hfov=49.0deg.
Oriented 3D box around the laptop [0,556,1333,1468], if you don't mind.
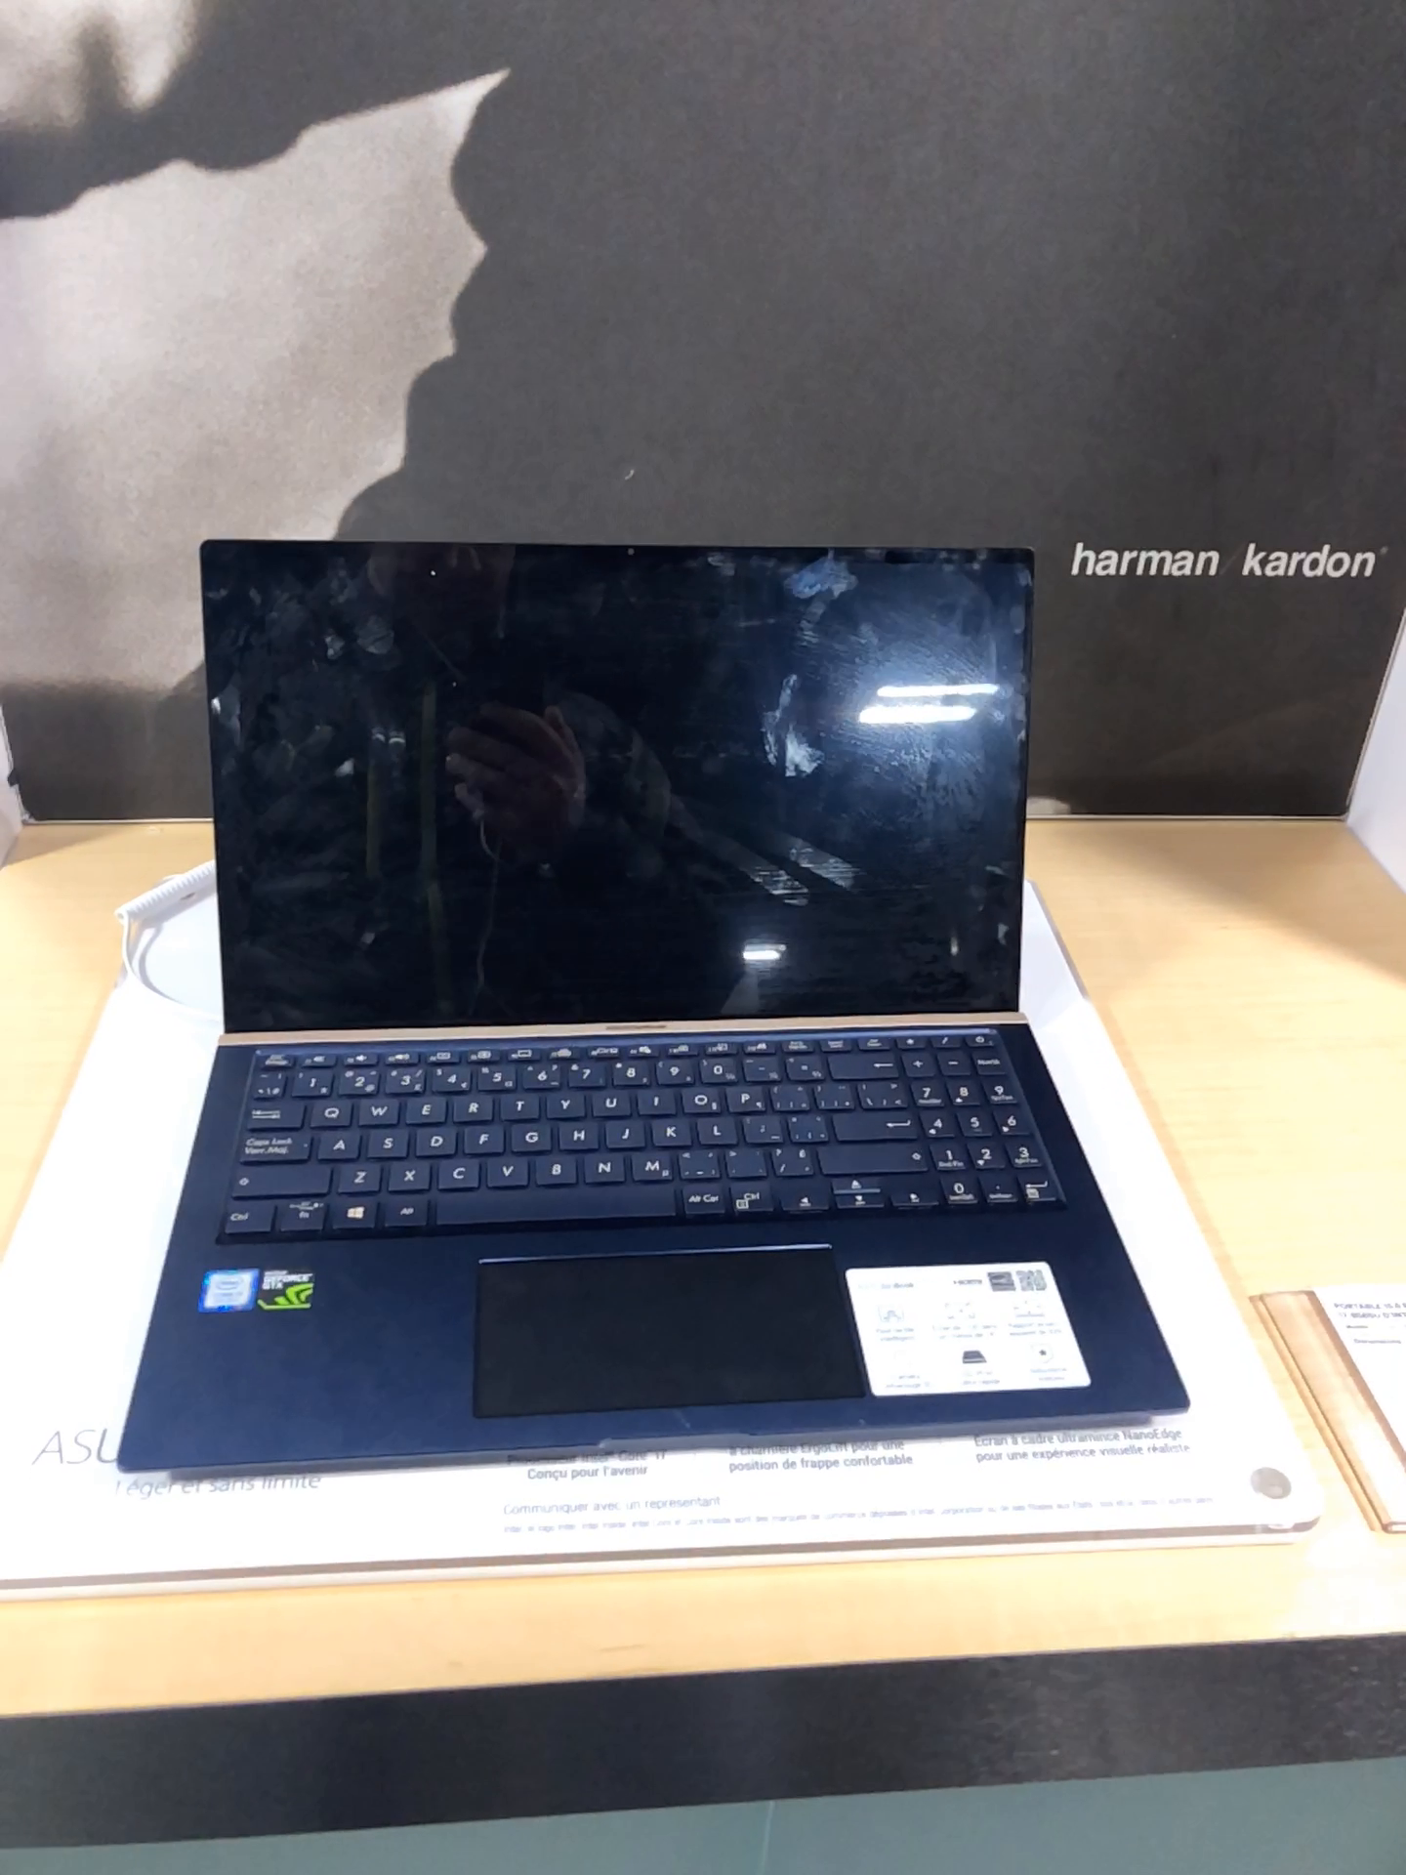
[{"bbox_3d":[-0.018,0.001,0.551,0.331,0.173,0.294,-1,34,-5],"label":"laptop"}]
